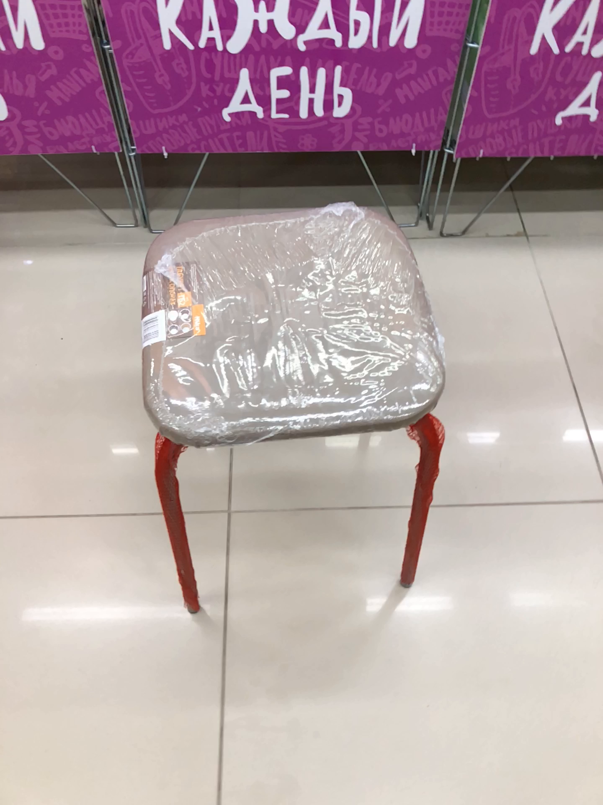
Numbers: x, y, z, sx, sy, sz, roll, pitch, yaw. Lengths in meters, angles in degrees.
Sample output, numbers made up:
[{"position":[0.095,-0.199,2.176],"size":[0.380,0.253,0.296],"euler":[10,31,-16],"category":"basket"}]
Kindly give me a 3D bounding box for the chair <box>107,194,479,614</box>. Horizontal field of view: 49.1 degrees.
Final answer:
[{"position":[-0.023,0.027,0.857],"size":[0.330,0.438,0.332],"euler":[-5,56,-4],"category":"chair"}]
